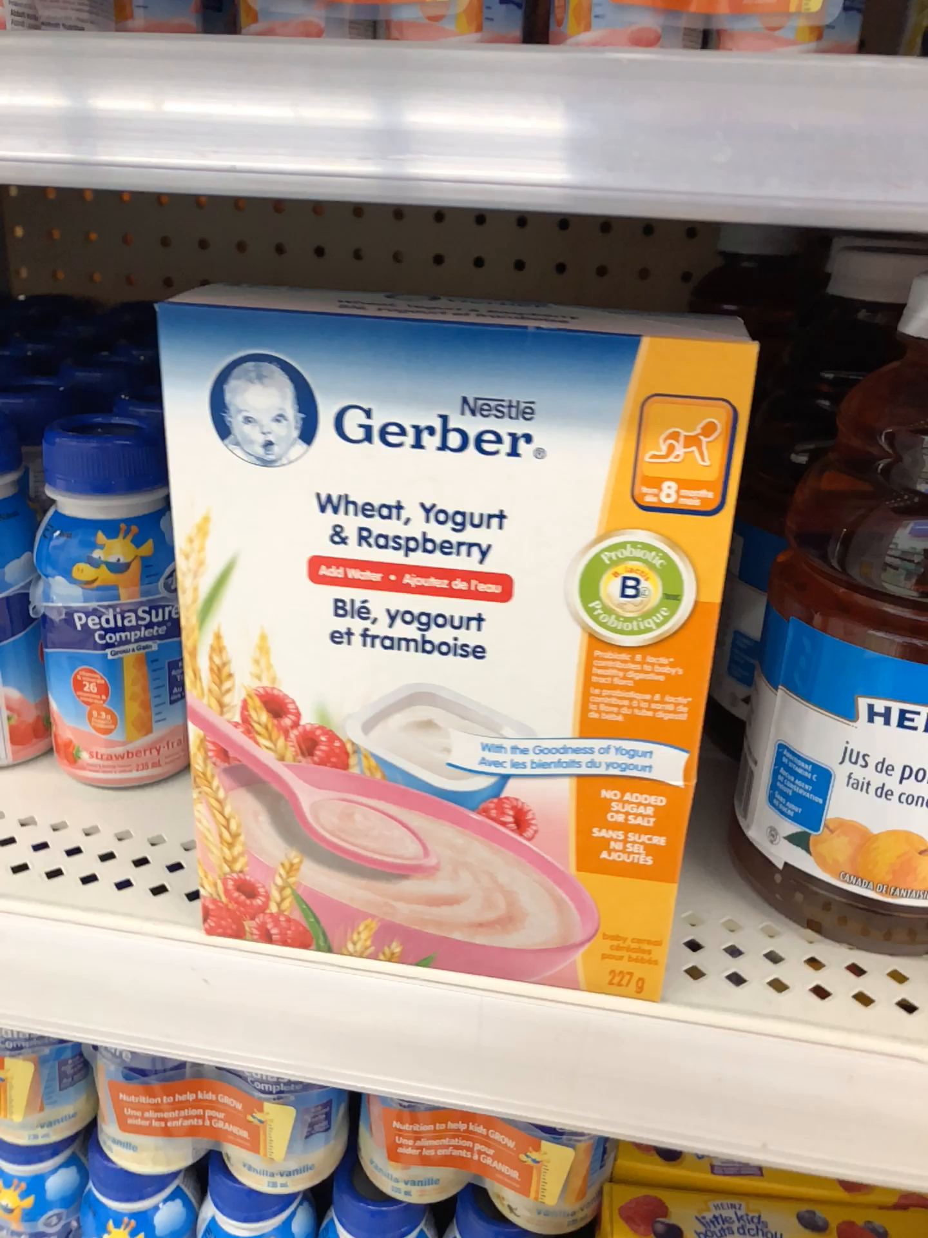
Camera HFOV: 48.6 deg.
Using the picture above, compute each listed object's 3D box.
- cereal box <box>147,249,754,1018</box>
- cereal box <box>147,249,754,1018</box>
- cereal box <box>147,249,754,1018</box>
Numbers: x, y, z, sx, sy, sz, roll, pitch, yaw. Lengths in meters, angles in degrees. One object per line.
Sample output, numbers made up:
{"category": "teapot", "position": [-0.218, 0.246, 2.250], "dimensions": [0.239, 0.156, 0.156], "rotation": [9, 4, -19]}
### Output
{"category": "cereal box", "position": [-0.008, 0.006, 0.293], "dimensions": [0.140, 0.199, 0.050], "rotation": [7, 22, 7]}
{"category": "cereal box", "position": [-0.008, 0.006, 0.293], "dimensions": [0.140, 0.199, 0.050], "rotation": [7, 22, 7]}
{"category": "cereal box", "position": [-0.008, 0.006, 0.293], "dimensions": [0.140, 0.199, 0.050], "rotation": [7, 22, 7]}
